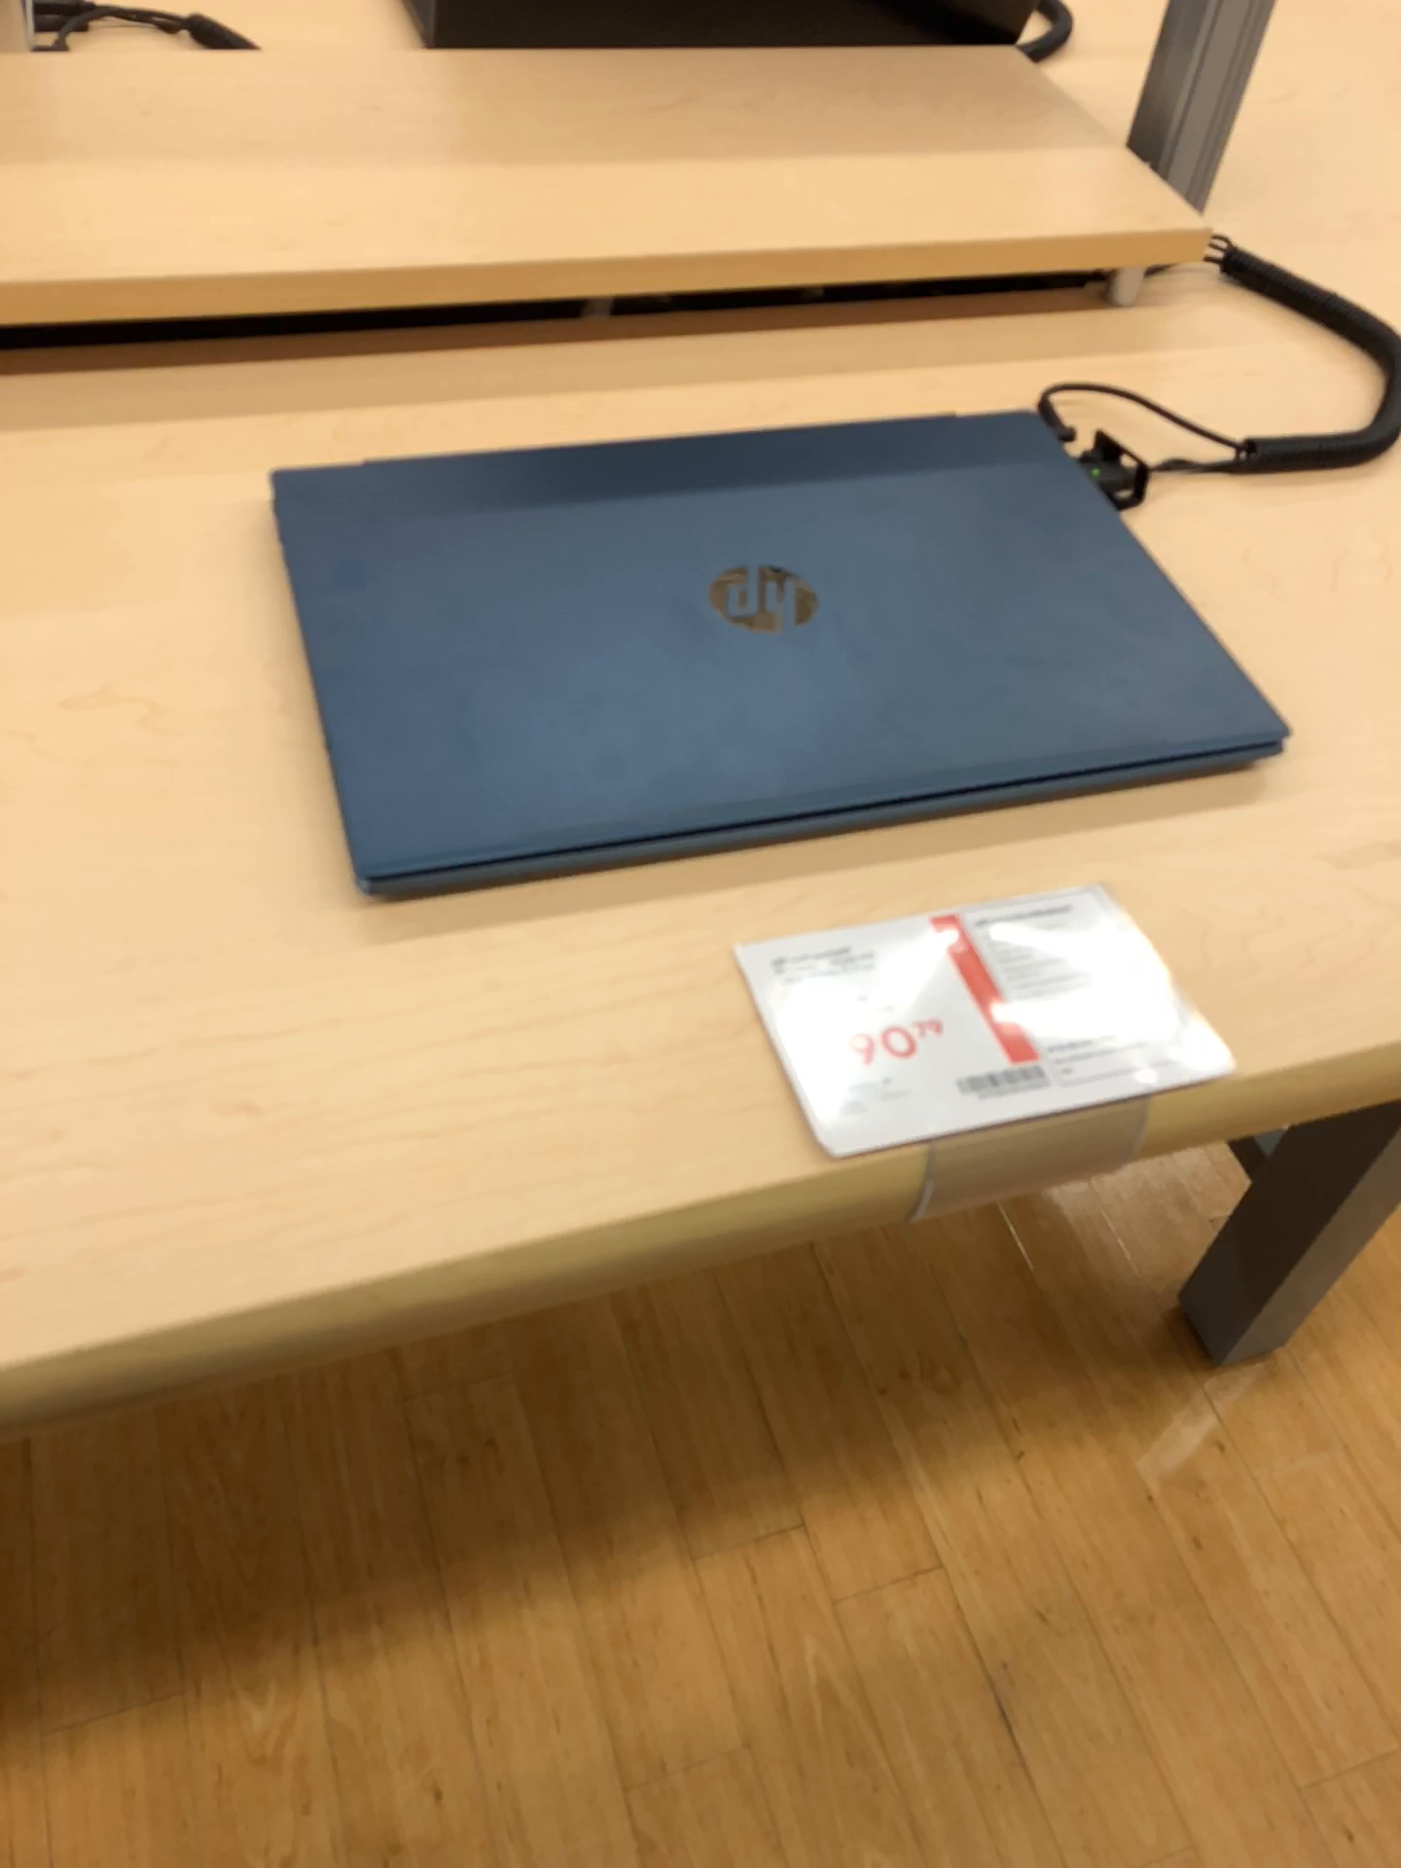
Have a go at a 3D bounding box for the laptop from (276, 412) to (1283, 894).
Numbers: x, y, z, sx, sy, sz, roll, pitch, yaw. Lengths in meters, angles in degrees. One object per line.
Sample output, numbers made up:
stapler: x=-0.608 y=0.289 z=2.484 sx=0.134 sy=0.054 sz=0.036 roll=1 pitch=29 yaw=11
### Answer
laptop: x=0.025 y=-0.130 z=0.618 sx=0.353 sy=0.012 sz=0.220 roll=-10 pitch=54 yaw=-14
